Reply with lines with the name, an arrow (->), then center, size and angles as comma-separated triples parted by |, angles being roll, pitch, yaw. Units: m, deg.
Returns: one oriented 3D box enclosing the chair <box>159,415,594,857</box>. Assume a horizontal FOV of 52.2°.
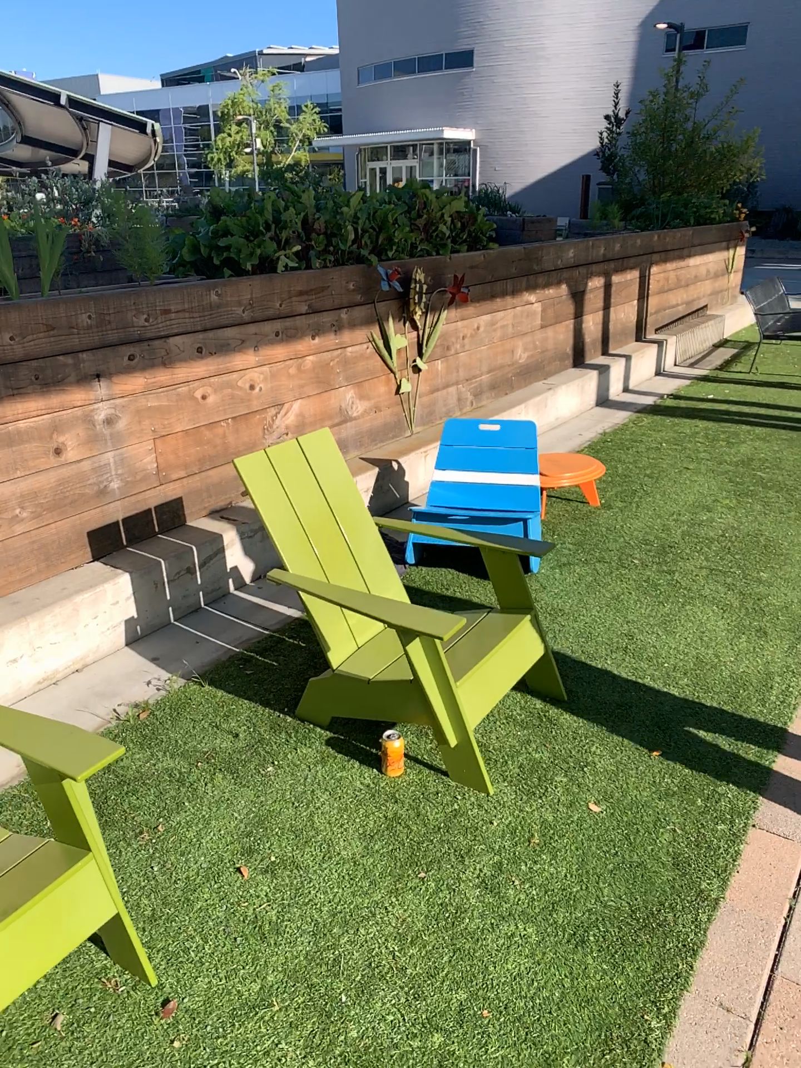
chair -> -0.055, 0.214, 2.622 | 1.003, 0.896, 0.851 | 14, 26, 32
